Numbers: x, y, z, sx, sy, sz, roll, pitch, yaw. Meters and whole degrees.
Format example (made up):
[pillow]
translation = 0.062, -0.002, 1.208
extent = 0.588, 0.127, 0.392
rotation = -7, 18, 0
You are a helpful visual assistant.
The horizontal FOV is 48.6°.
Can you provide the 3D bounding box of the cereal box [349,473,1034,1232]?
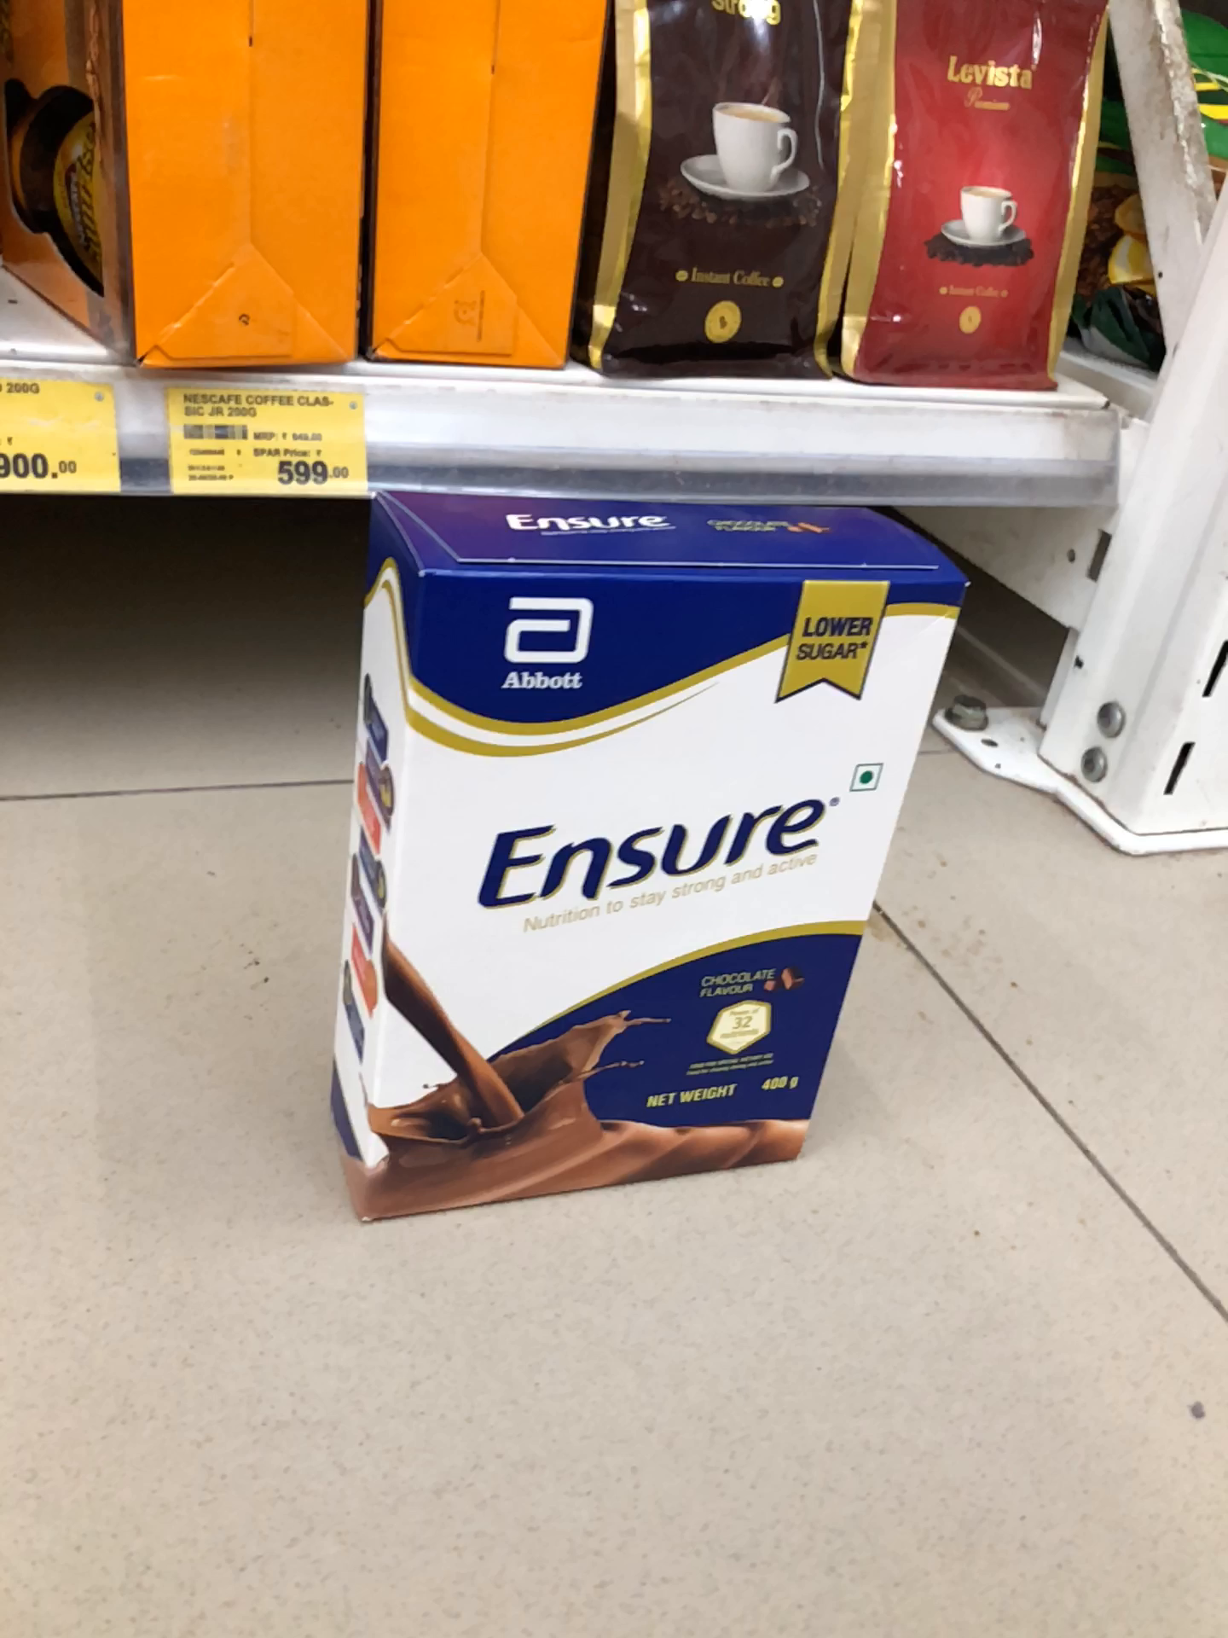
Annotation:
[cereal box]
translation = 0.008, 0.010, 0.351
extent = 0.140, 0.179, 0.060
rotation = -3, 32, -18
